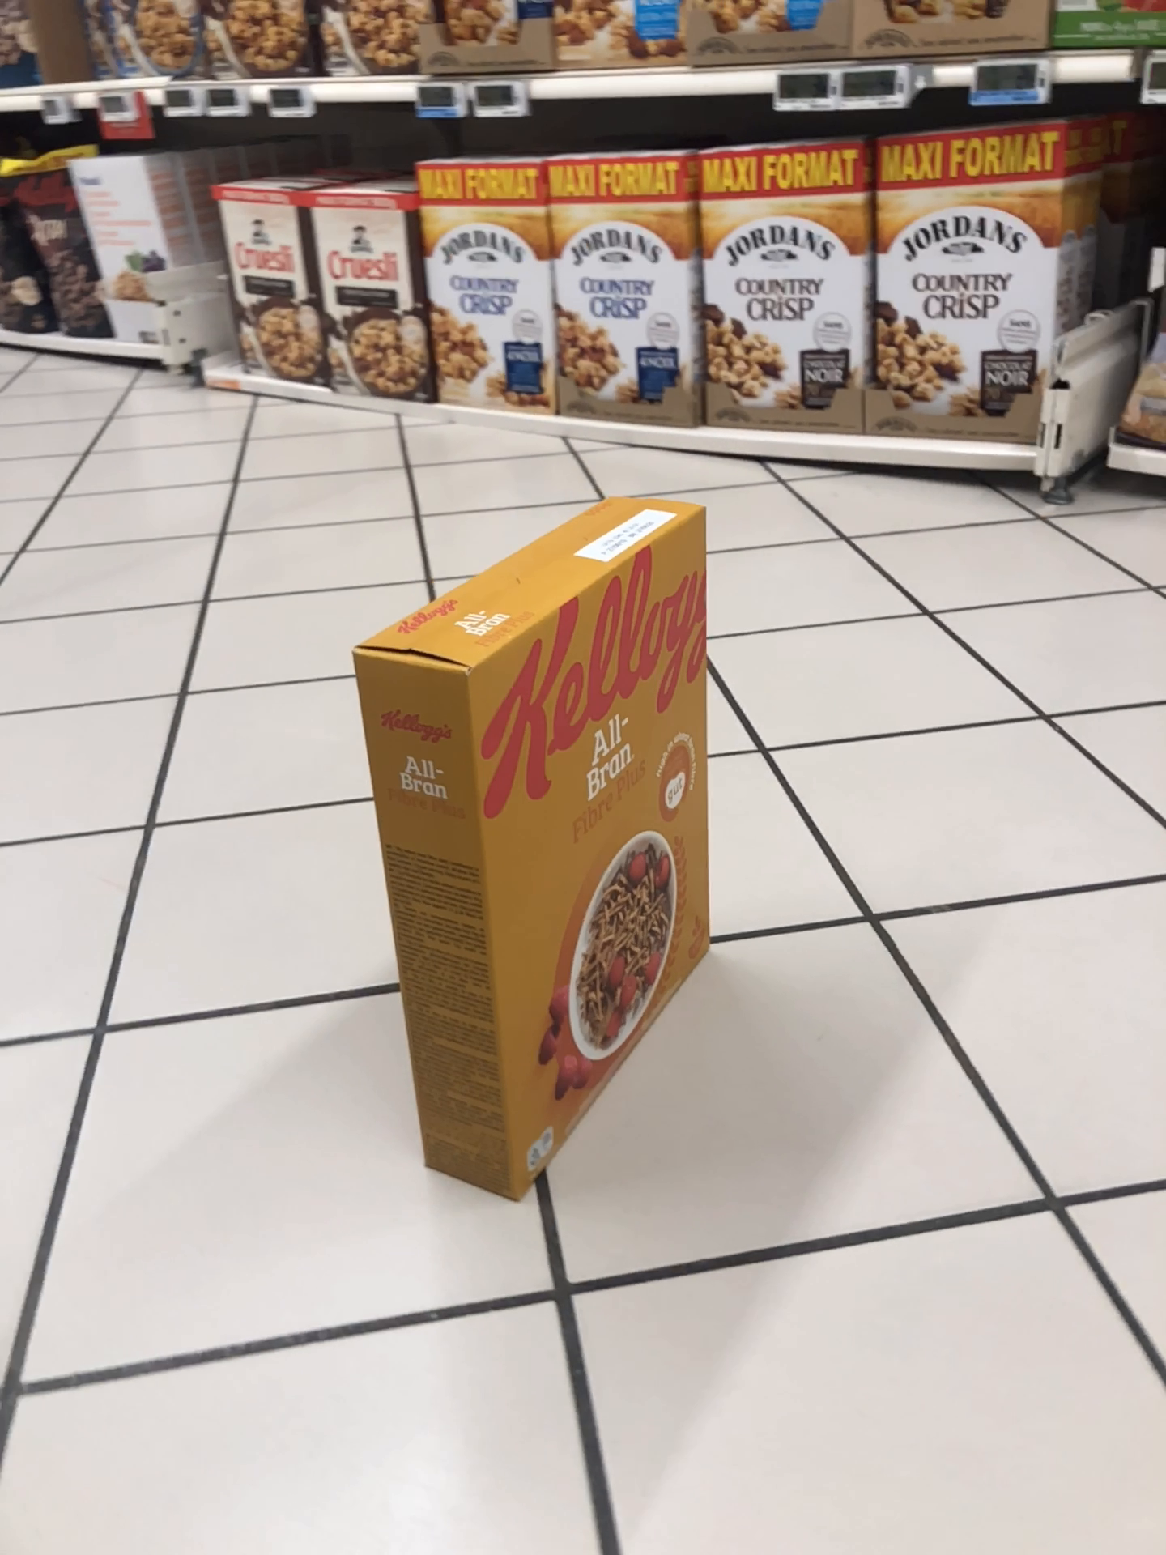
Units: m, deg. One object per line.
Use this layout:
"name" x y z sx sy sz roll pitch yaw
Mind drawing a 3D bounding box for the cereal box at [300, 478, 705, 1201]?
"cereal box" -0.016 0.019 0.548 0.060 0.239 0.191 13 33 27
